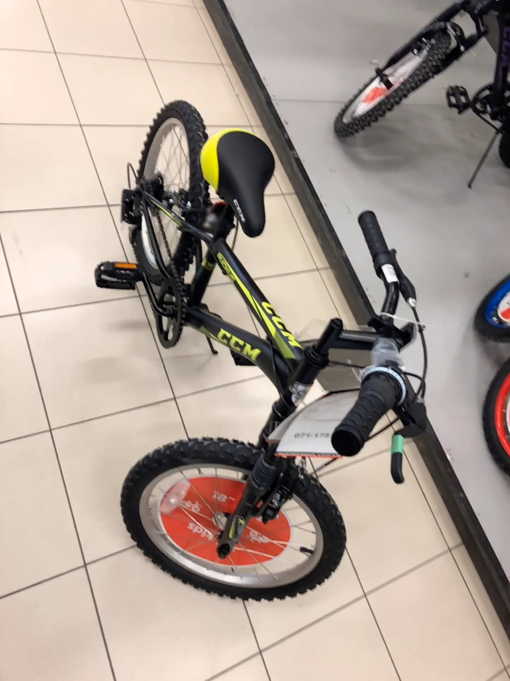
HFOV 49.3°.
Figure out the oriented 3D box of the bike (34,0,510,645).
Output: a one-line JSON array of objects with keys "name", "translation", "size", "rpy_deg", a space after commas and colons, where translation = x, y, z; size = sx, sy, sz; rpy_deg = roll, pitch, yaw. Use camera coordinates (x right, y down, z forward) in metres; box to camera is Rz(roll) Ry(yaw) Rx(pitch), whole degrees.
[{"name": "bike", "translation": [-0.009, -0.130, 1.126], "size": [0.550, 0.862, 1.195], "rpy_deg": [-10, 68, -29]}]
